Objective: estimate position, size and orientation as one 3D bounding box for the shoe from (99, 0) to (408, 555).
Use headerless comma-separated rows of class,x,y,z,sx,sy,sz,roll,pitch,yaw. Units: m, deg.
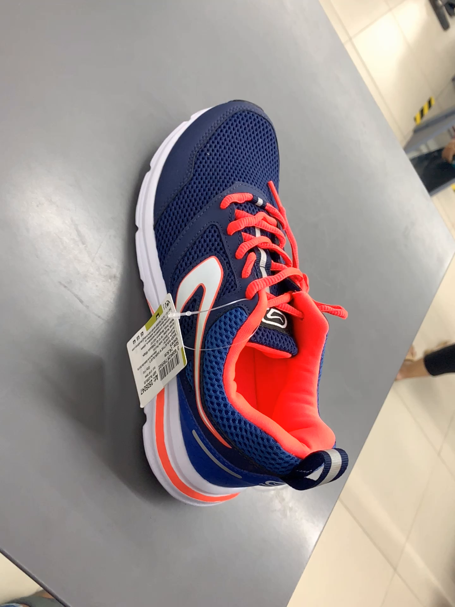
shoe,0.010,-0.024,0.300,0.110,0.139,0.290,11,73,-36
